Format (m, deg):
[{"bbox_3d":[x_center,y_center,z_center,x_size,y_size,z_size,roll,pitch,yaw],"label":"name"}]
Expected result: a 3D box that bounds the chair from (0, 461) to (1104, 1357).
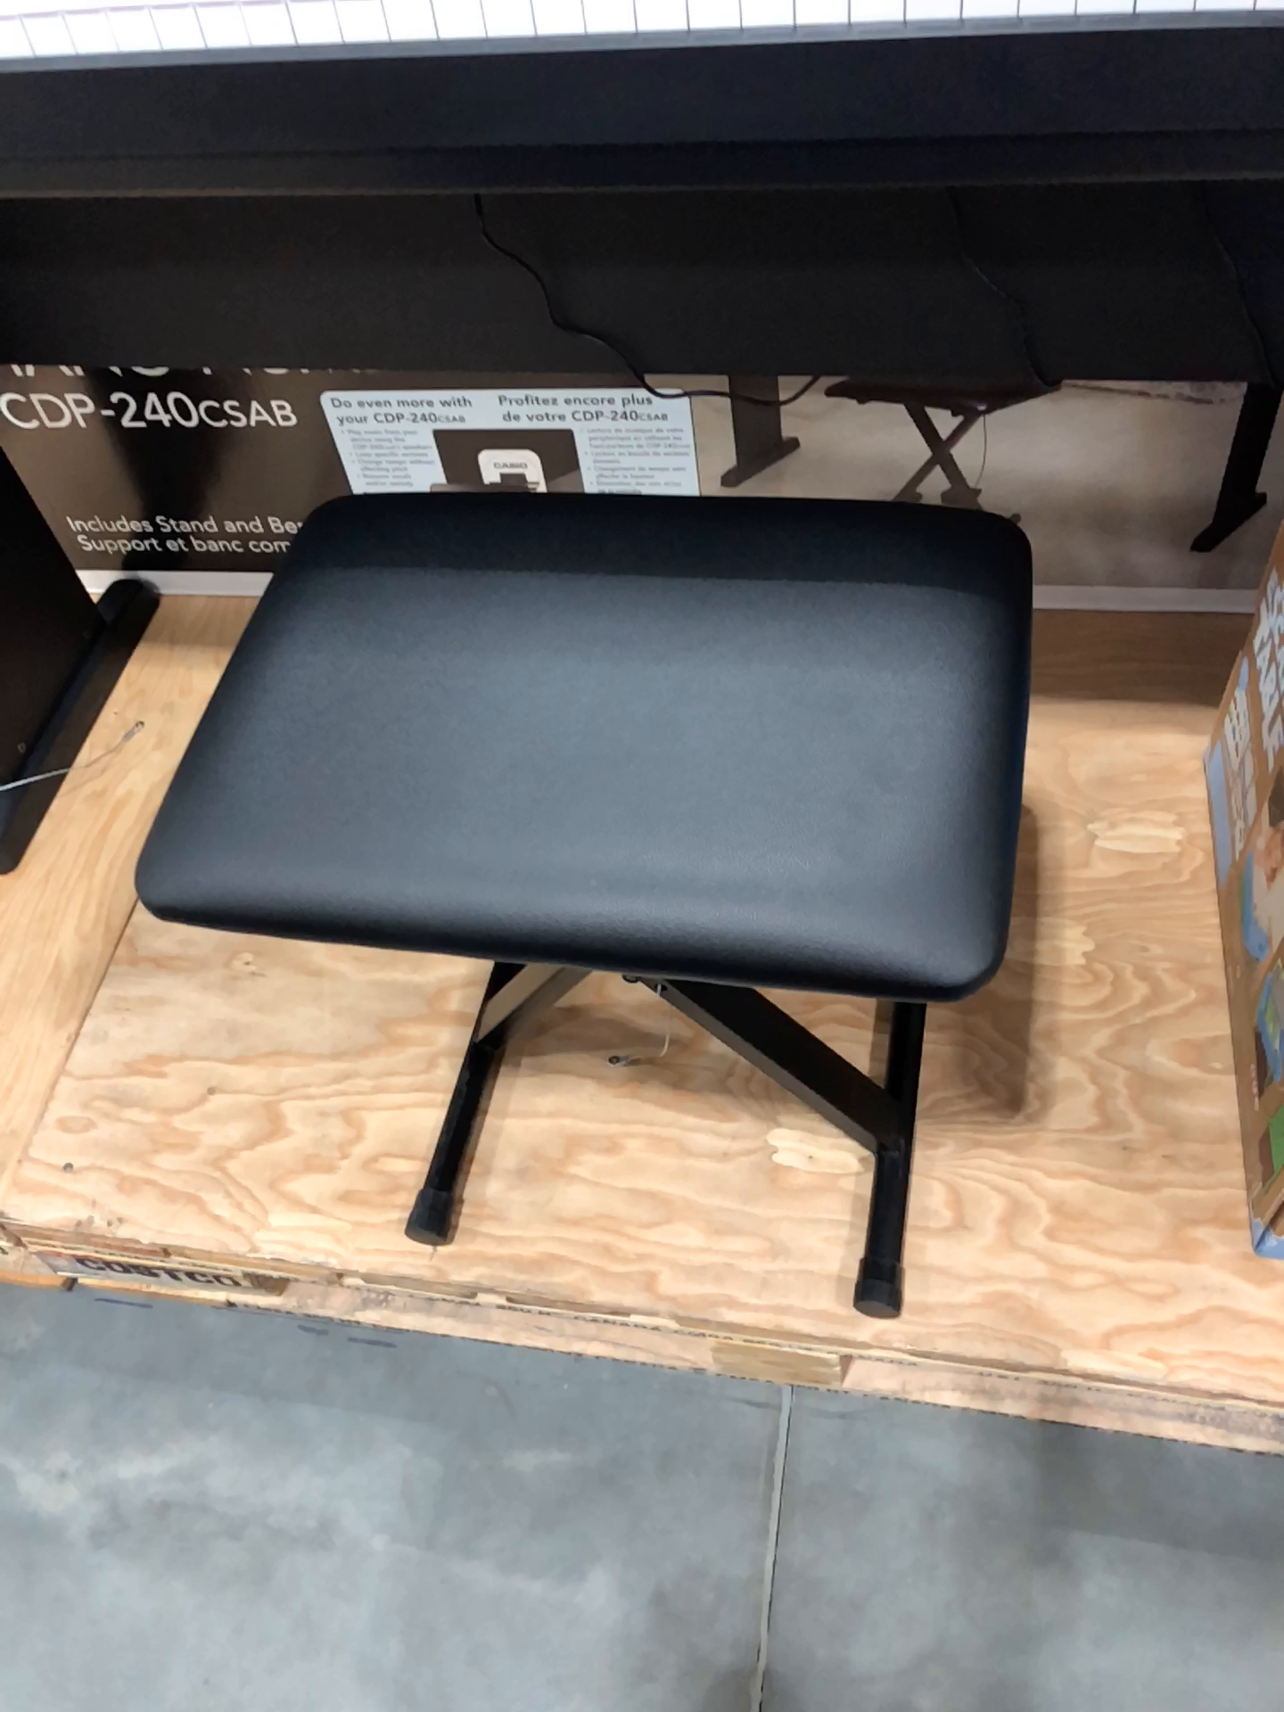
[{"bbox_3d":[-0.024,0.015,0.805,0.510,0.279,0.371,5,55,12],"label":"chair"}]
